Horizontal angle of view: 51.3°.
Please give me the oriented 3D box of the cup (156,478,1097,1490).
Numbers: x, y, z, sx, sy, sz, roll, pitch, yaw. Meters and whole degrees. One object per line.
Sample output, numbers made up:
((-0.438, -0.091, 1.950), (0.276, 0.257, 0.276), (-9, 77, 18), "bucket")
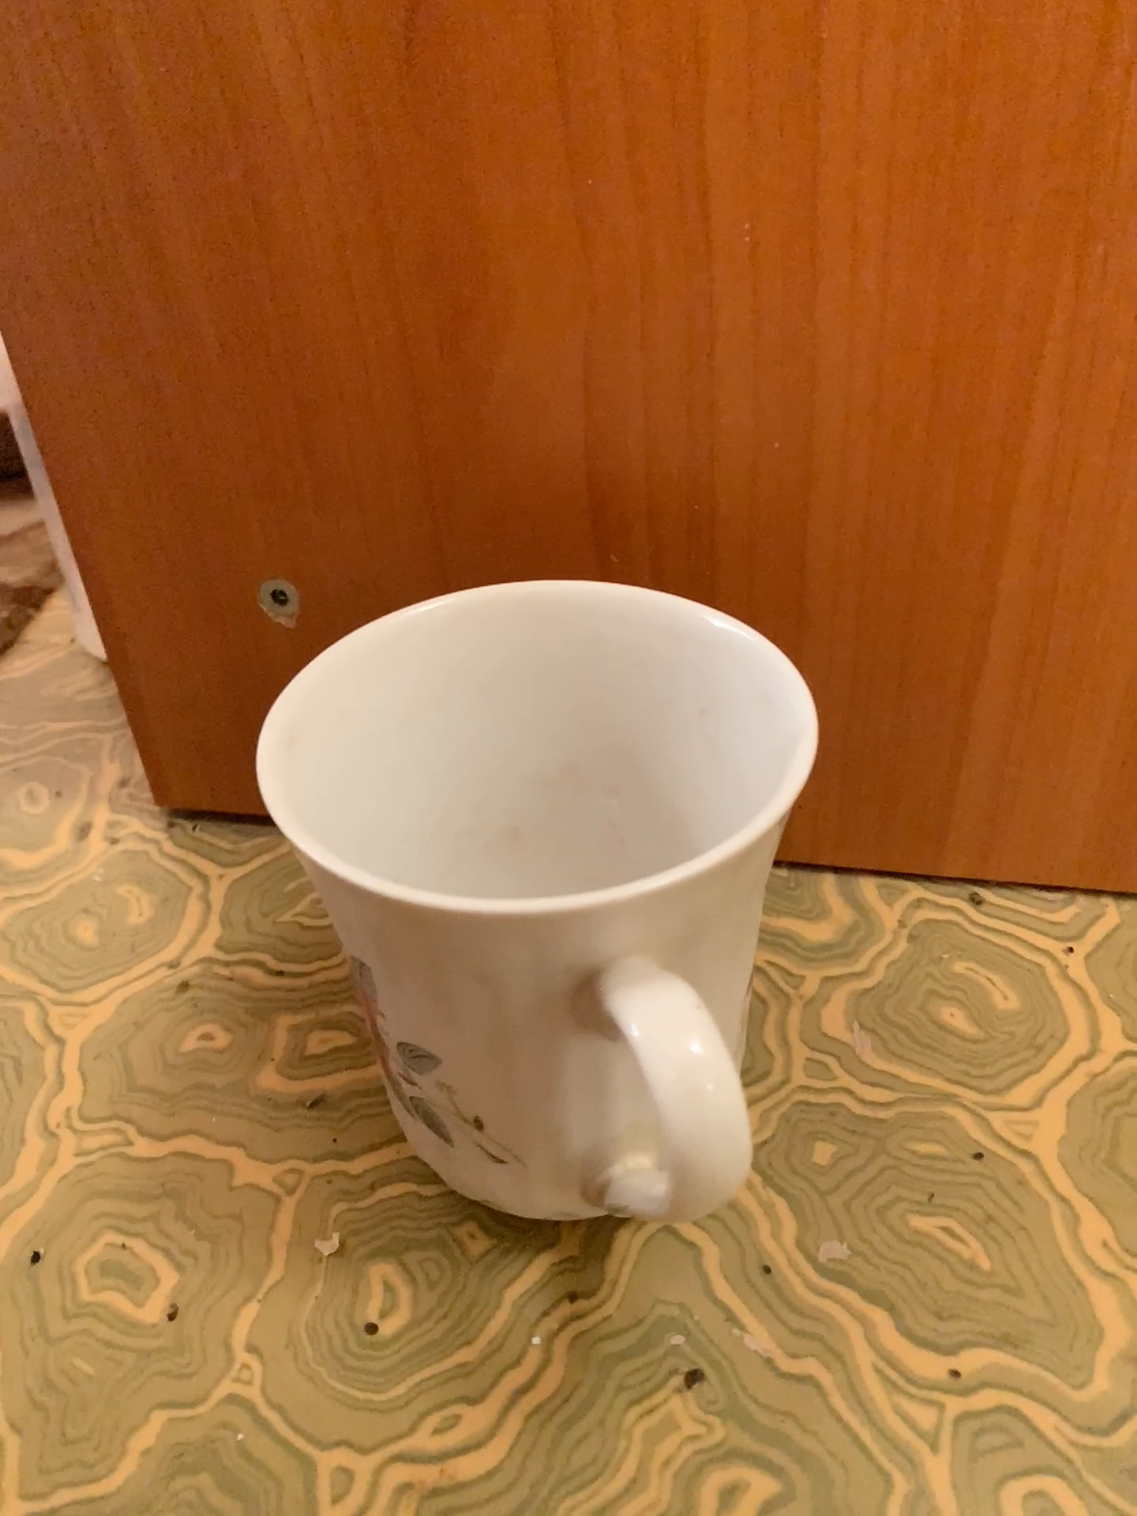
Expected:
((0.001, 0.024, 0.199), (0.086, 0.086, 0.119), (-23, 41, -24), "cup")
